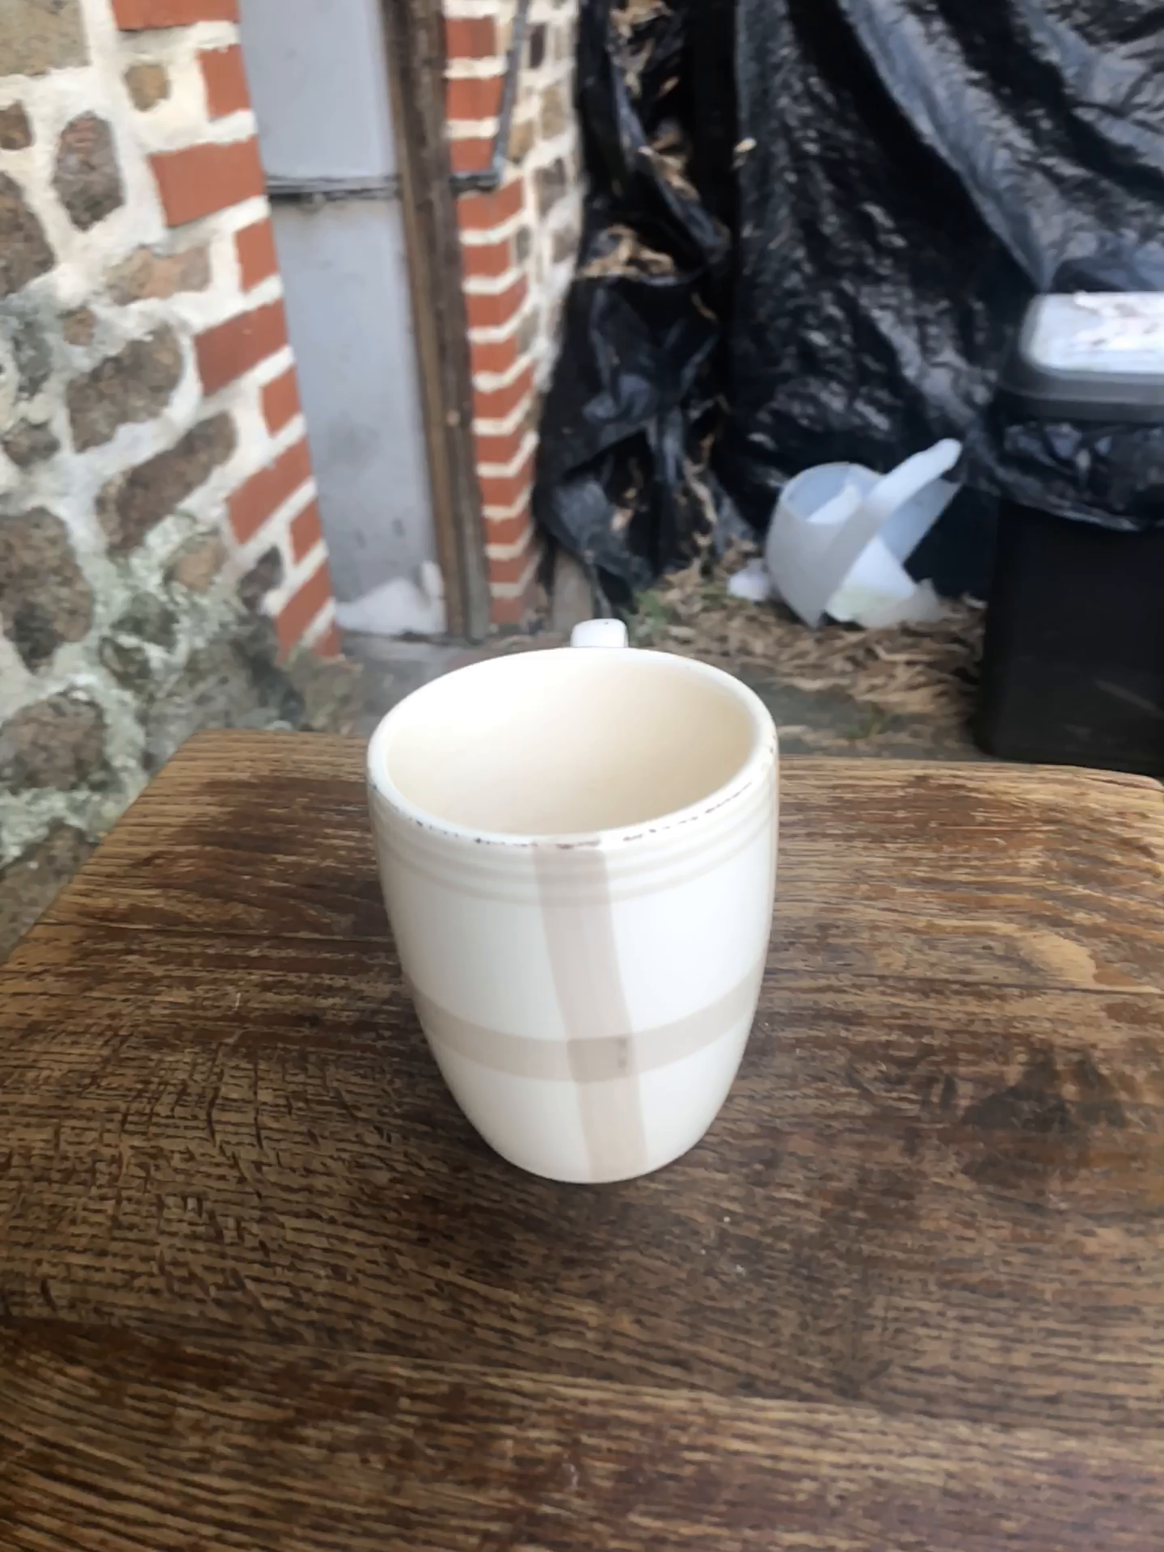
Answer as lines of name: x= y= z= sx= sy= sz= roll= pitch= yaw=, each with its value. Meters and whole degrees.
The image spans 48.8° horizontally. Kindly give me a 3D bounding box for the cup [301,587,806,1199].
cup: x=0.001 y=0.020 z=0.294 sx=0.087 sy=0.078 sz=0.125 roll=-2 pitch=31 yaw=5
